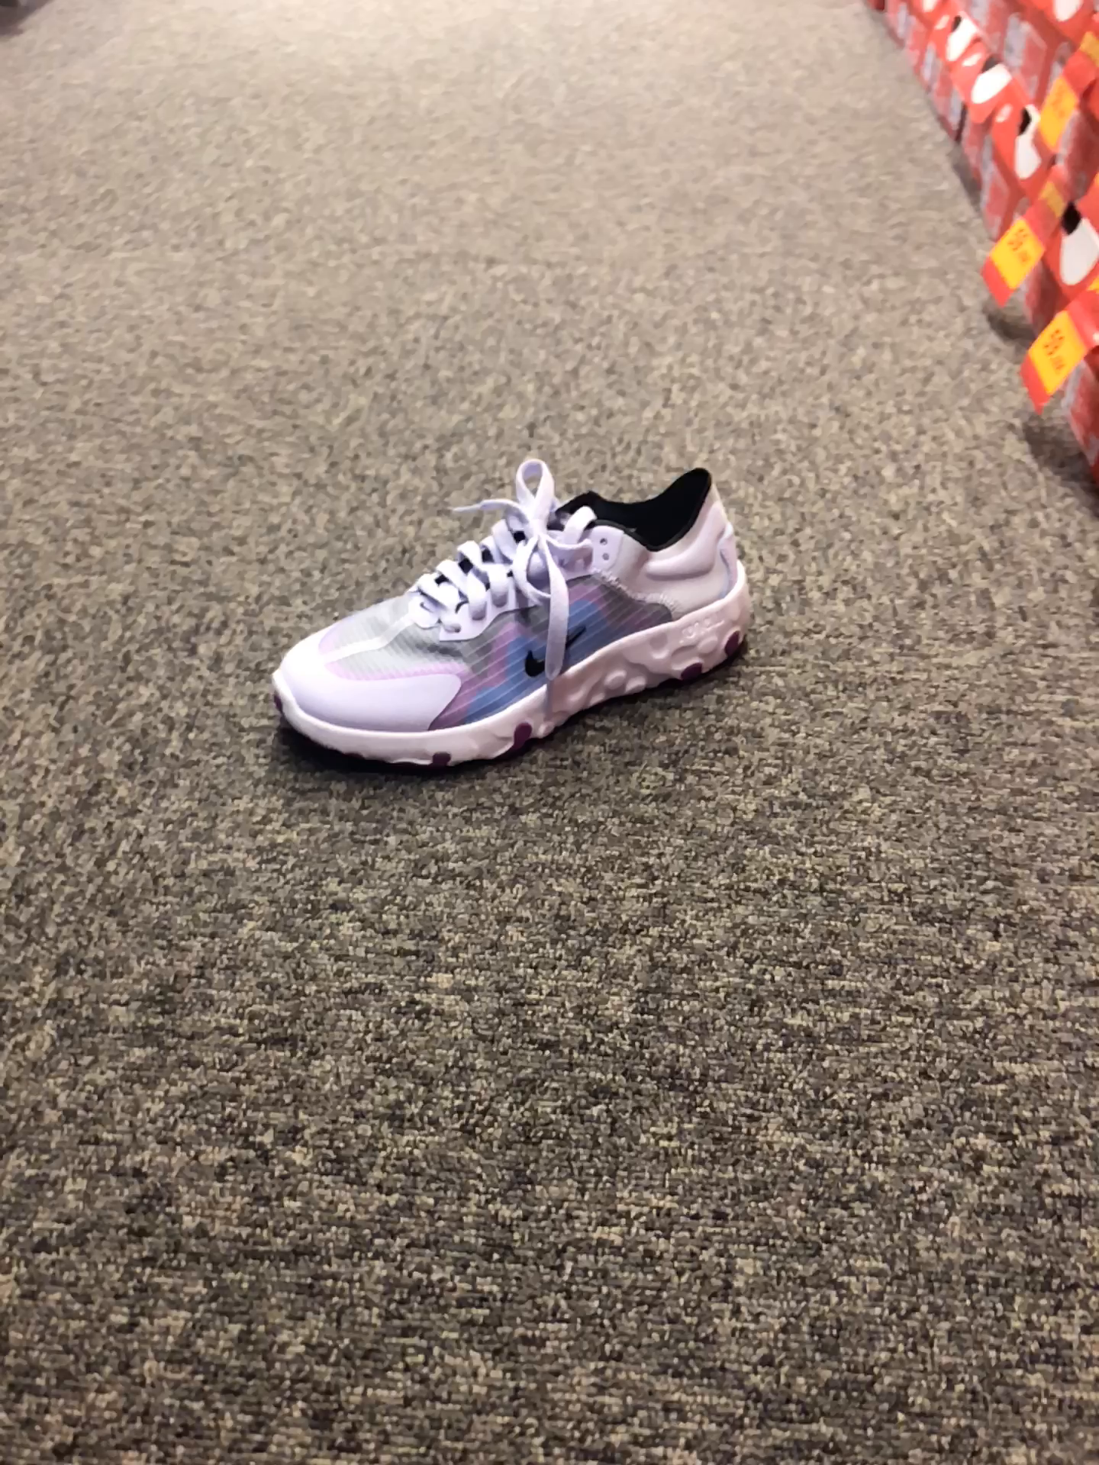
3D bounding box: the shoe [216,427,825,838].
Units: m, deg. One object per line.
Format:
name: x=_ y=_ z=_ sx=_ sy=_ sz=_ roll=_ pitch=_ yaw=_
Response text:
shoe: x=-0.012 y=-0.056 z=0.587 sx=0.261 sy=0.099 sz=0.100 roll=-17 pitch=45 yaw=-18
